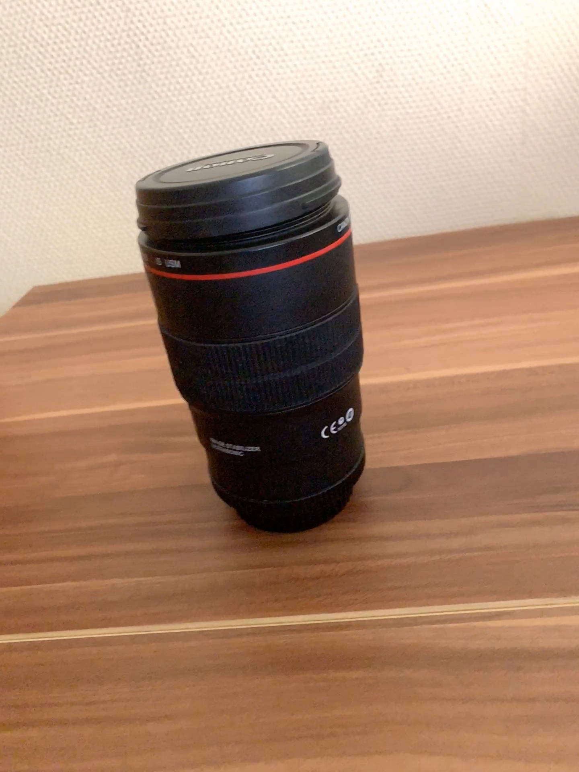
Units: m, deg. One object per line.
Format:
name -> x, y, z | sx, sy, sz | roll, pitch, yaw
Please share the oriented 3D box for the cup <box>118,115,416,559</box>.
cup -> -0.006, -0.019, 0.232 | 0.080, 0.139, 0.070 | -14, 30, -8
